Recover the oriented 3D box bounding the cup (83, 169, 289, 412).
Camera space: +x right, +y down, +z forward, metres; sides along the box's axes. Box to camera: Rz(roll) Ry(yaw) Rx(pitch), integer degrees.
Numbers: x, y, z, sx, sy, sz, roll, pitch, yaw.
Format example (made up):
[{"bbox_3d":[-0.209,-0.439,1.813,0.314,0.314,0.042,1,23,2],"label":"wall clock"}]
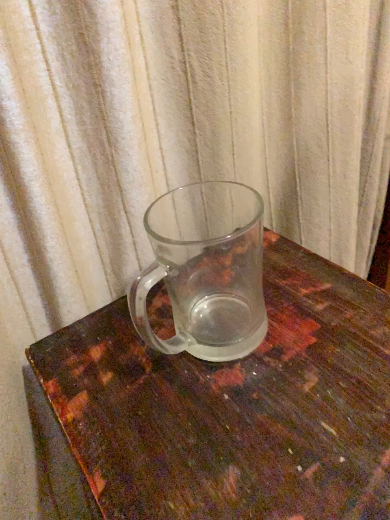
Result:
[{"bbox_3d":[0.006,0.016,0.355,0.101,0.135,0.143,16,41,32],"label":"cup"}]
